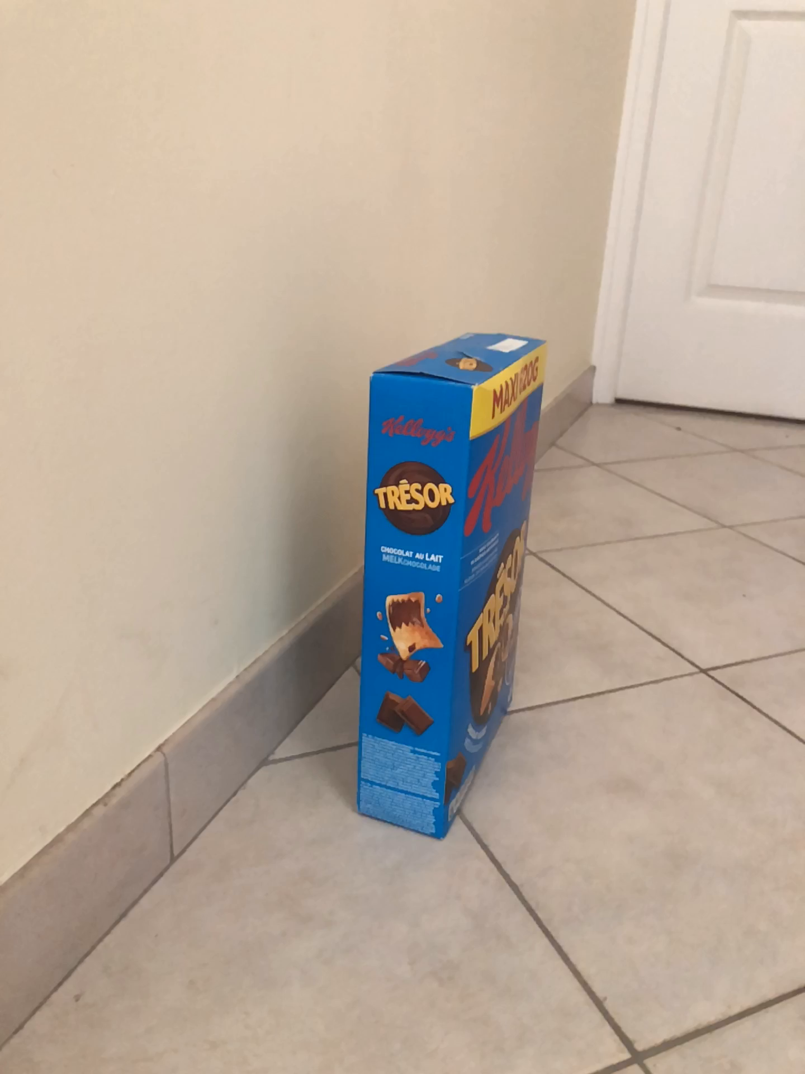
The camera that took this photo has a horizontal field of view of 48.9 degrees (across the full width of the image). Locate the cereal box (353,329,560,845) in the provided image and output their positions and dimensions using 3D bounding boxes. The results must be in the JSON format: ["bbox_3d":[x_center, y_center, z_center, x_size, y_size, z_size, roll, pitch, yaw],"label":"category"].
[{"bbox_3d":[0.040,0.022,0.613,0.070,0.299,0.191,10,22,18],"label":"cereal box"}]
